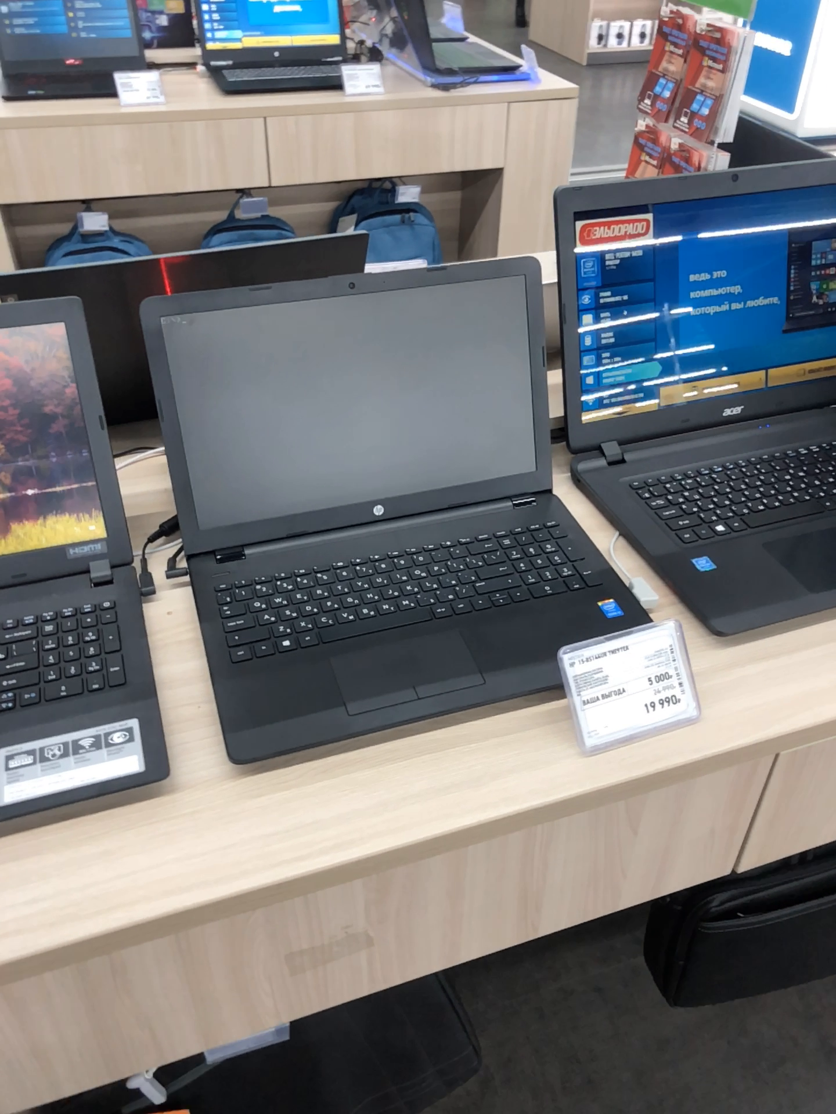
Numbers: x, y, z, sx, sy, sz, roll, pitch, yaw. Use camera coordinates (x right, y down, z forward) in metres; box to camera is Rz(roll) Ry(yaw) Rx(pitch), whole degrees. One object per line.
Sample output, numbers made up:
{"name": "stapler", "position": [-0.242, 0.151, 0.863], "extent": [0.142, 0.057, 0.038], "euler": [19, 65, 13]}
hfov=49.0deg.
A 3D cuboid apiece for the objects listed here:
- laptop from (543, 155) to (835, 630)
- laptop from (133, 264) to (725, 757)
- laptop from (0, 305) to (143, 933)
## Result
{"name": "laptop", "position": [0.395, -0.198, 0.928], "extent": [0.396, 0.267, 0.397], "euler": [-11, 39, -14]}
{"name": "laptop", "position": [-0.016, -0.068, 0.803], "extent": [0.377, 0.215, 0.335], "euler": [-12, 41, -15]}
{"name": "laptop", "position": [-0.420, 0.004, 0.694], "extent": [0.359, 0.226, 0.351], "euler": [-11, 39, -17]}
